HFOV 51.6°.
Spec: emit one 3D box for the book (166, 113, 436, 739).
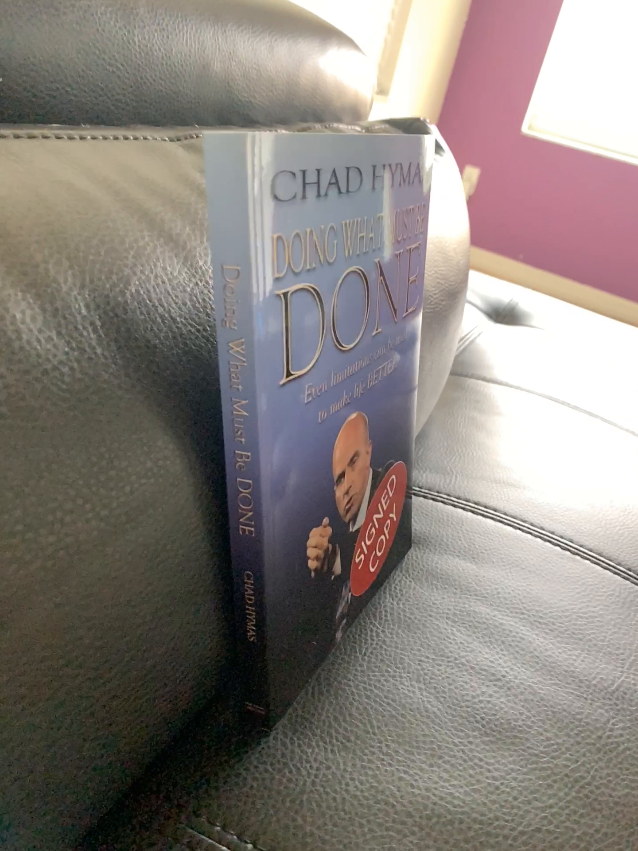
[{"bbox_3d":[0.007,-0.009,0.291,0.025,0.225,0.158,11,24,28],"label":"book"}]
